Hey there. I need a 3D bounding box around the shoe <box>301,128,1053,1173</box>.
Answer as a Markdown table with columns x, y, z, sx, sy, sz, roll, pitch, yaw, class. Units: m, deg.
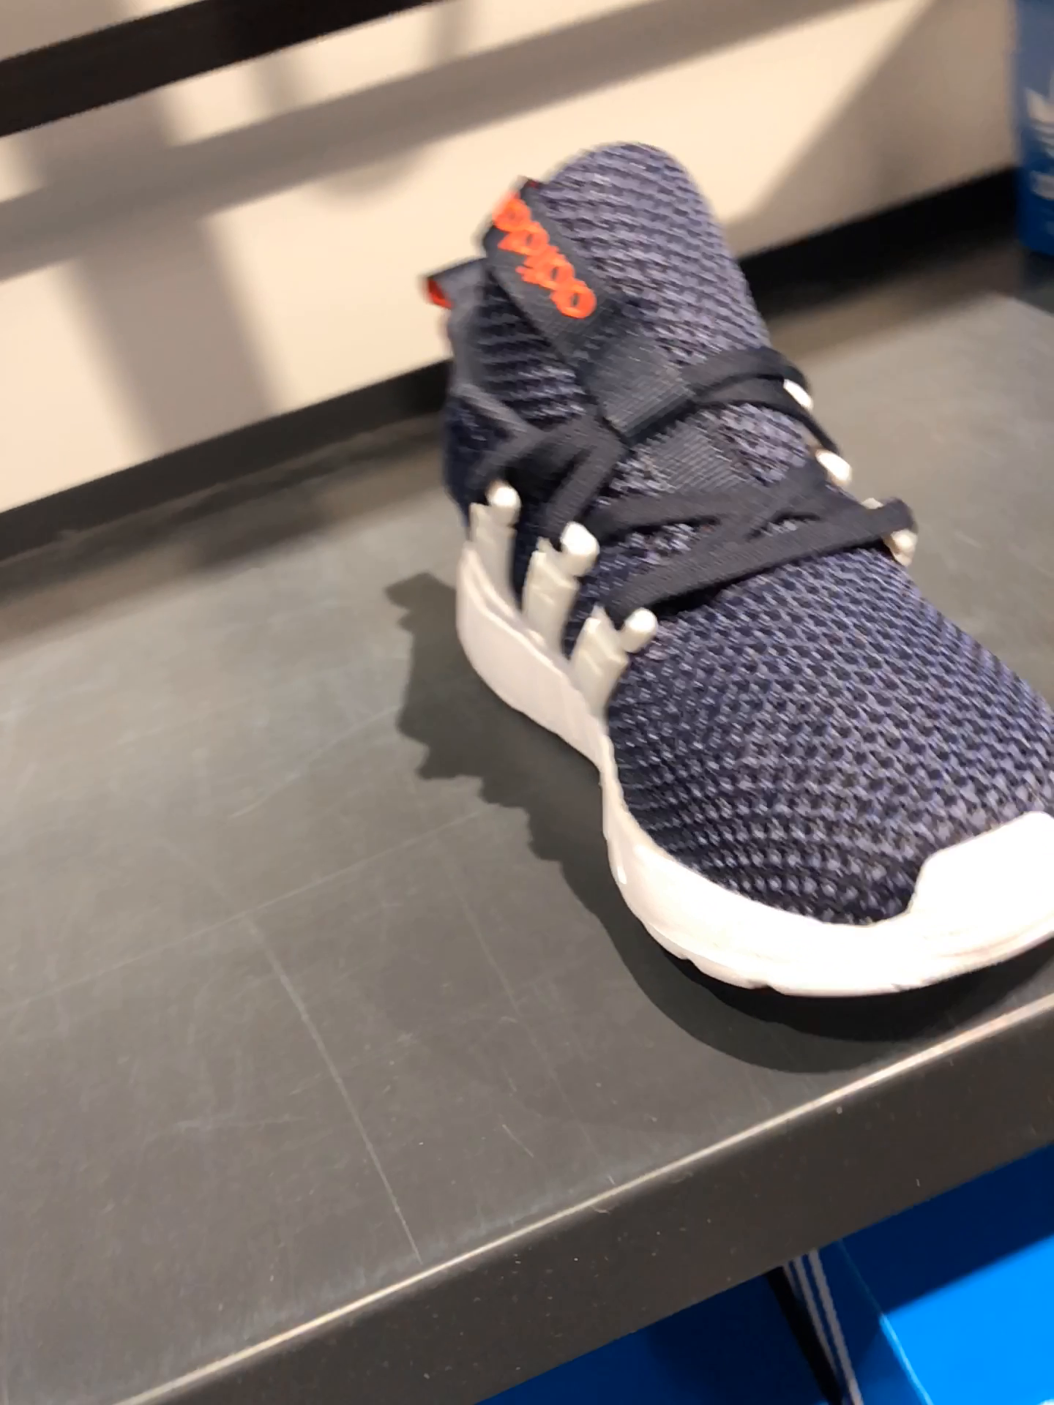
| x | y | z | sx | sy | sz | roll | pitch | yaw | class |
| --- | --- | --- | --- | --- | --- | --- | --- | --- | --- |
| 0.030 | -0.038 | 0.233 | 0.090 | 0.110 | 0.201 | -21 | 31 | -7 | shoe |
